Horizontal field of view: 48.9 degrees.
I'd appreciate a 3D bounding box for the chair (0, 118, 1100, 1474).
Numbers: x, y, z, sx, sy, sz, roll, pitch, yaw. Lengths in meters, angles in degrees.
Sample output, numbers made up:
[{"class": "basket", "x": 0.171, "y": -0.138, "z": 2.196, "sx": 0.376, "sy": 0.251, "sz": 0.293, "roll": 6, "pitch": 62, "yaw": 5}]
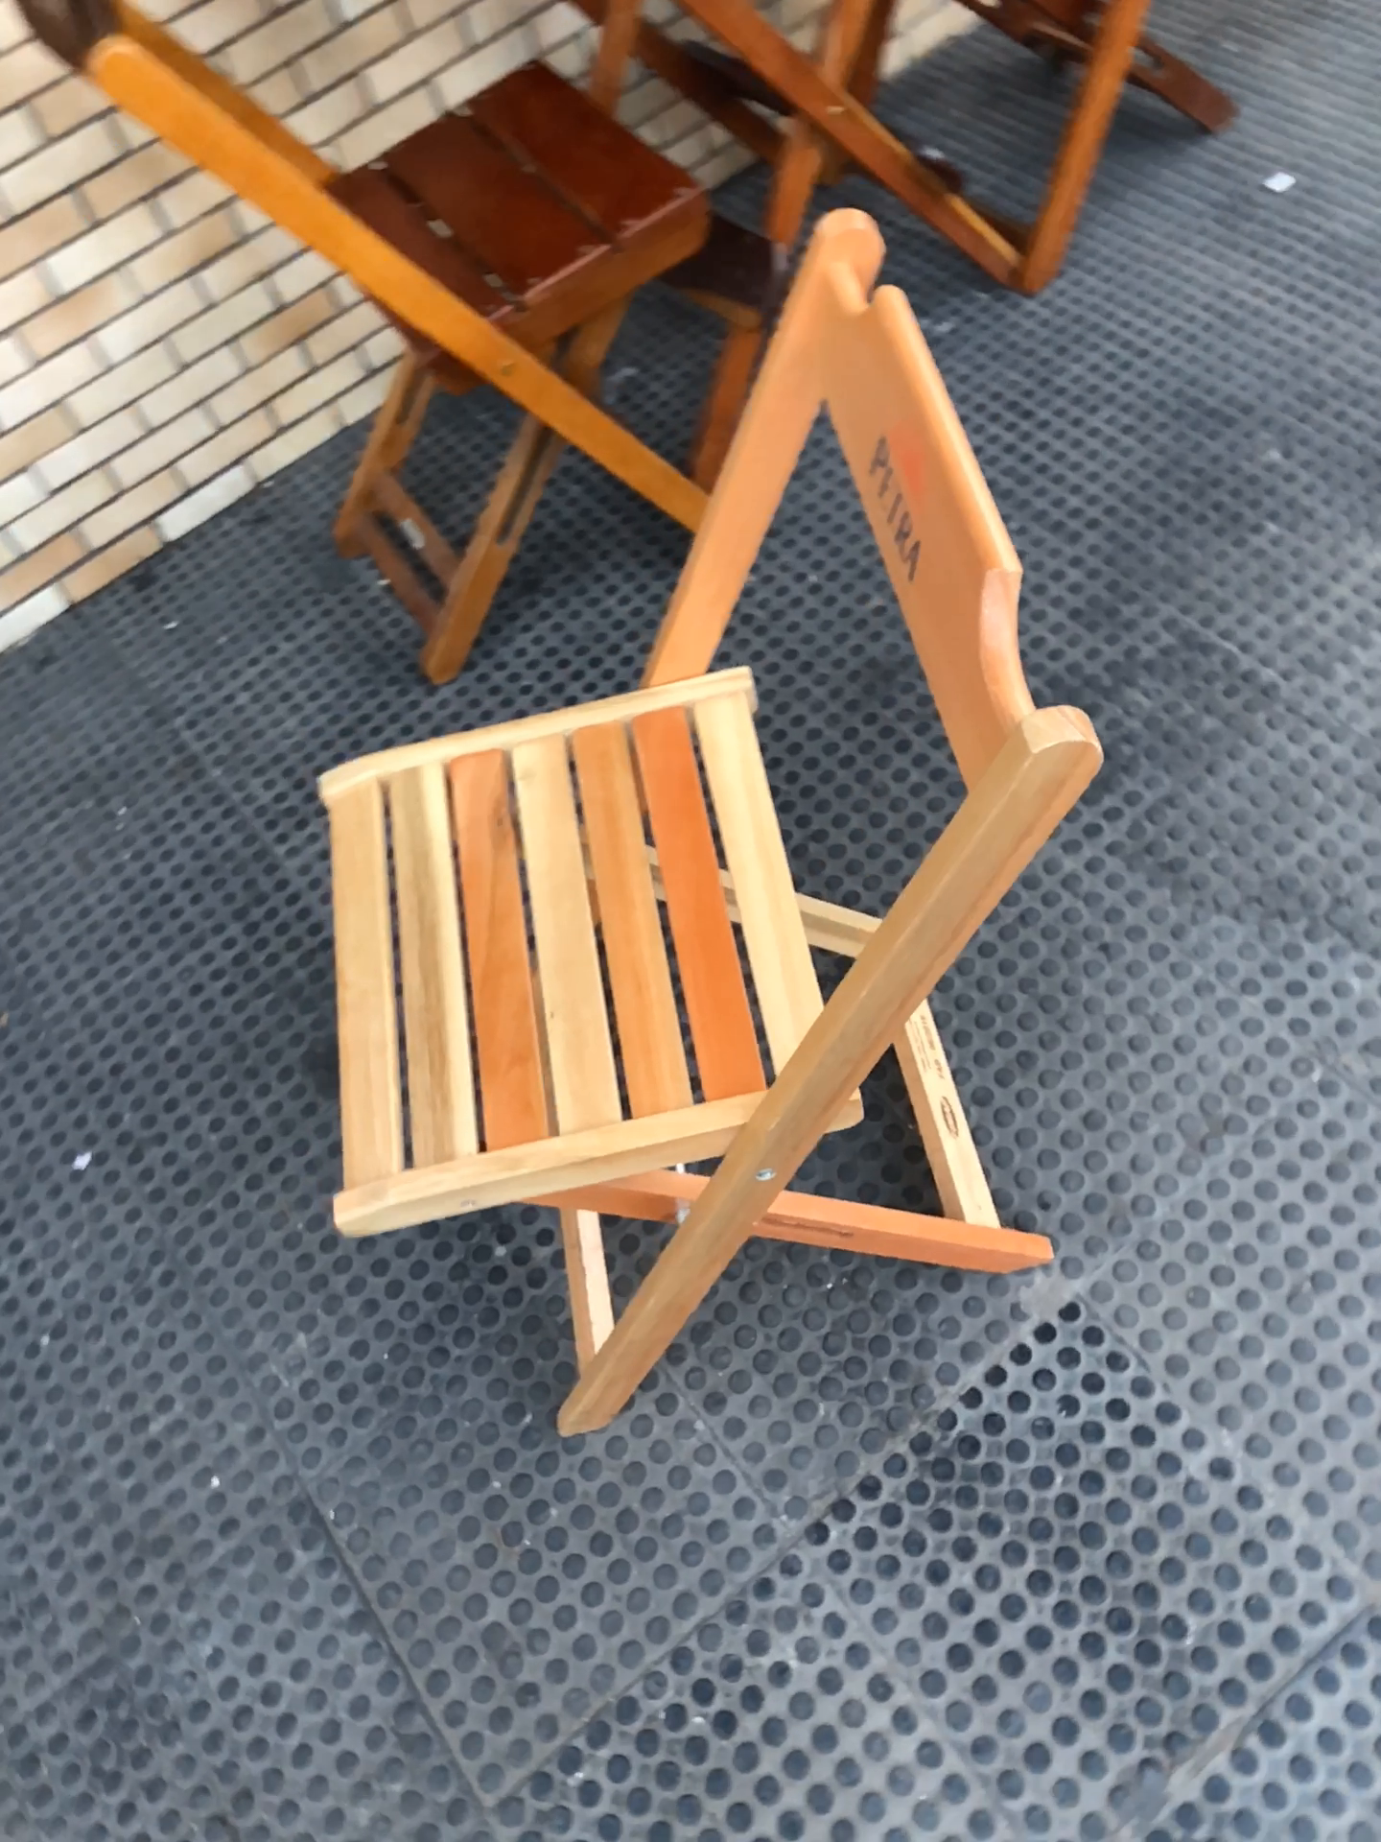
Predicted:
[{"class": "chair", "x": -0.036, "y": -0.005, "z": 1.069, "sx": 0.500, "sy": 0.756, "sz": 0.483, "roll": -15, "pitch": 54, "yaw": 5}]
